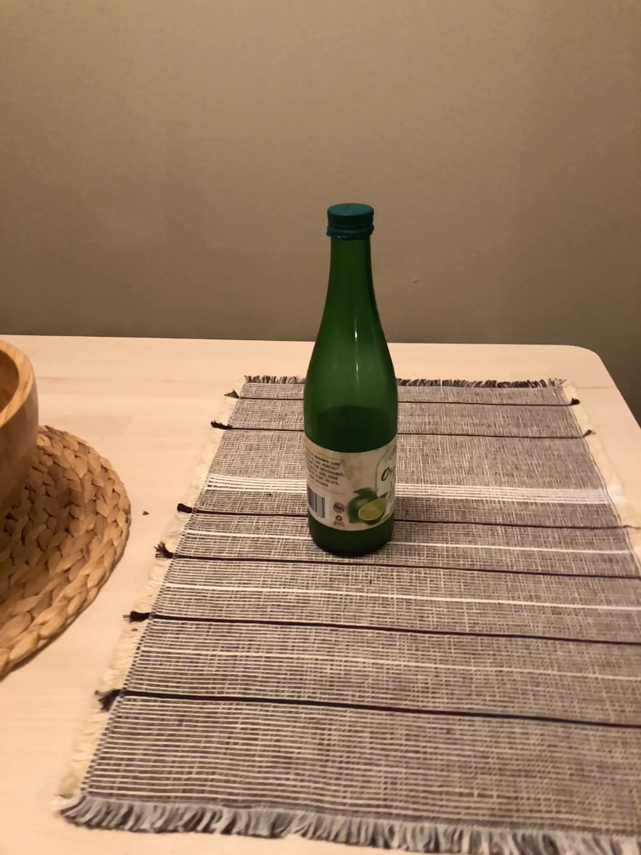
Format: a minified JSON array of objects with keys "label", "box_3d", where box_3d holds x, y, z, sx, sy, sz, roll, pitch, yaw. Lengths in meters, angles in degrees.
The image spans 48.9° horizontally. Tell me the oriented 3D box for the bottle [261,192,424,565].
[{"label":"bottle","box_3d":[0.019,-0.030,0.483,0.081,0.236,0.080,-1,29,1]}]
